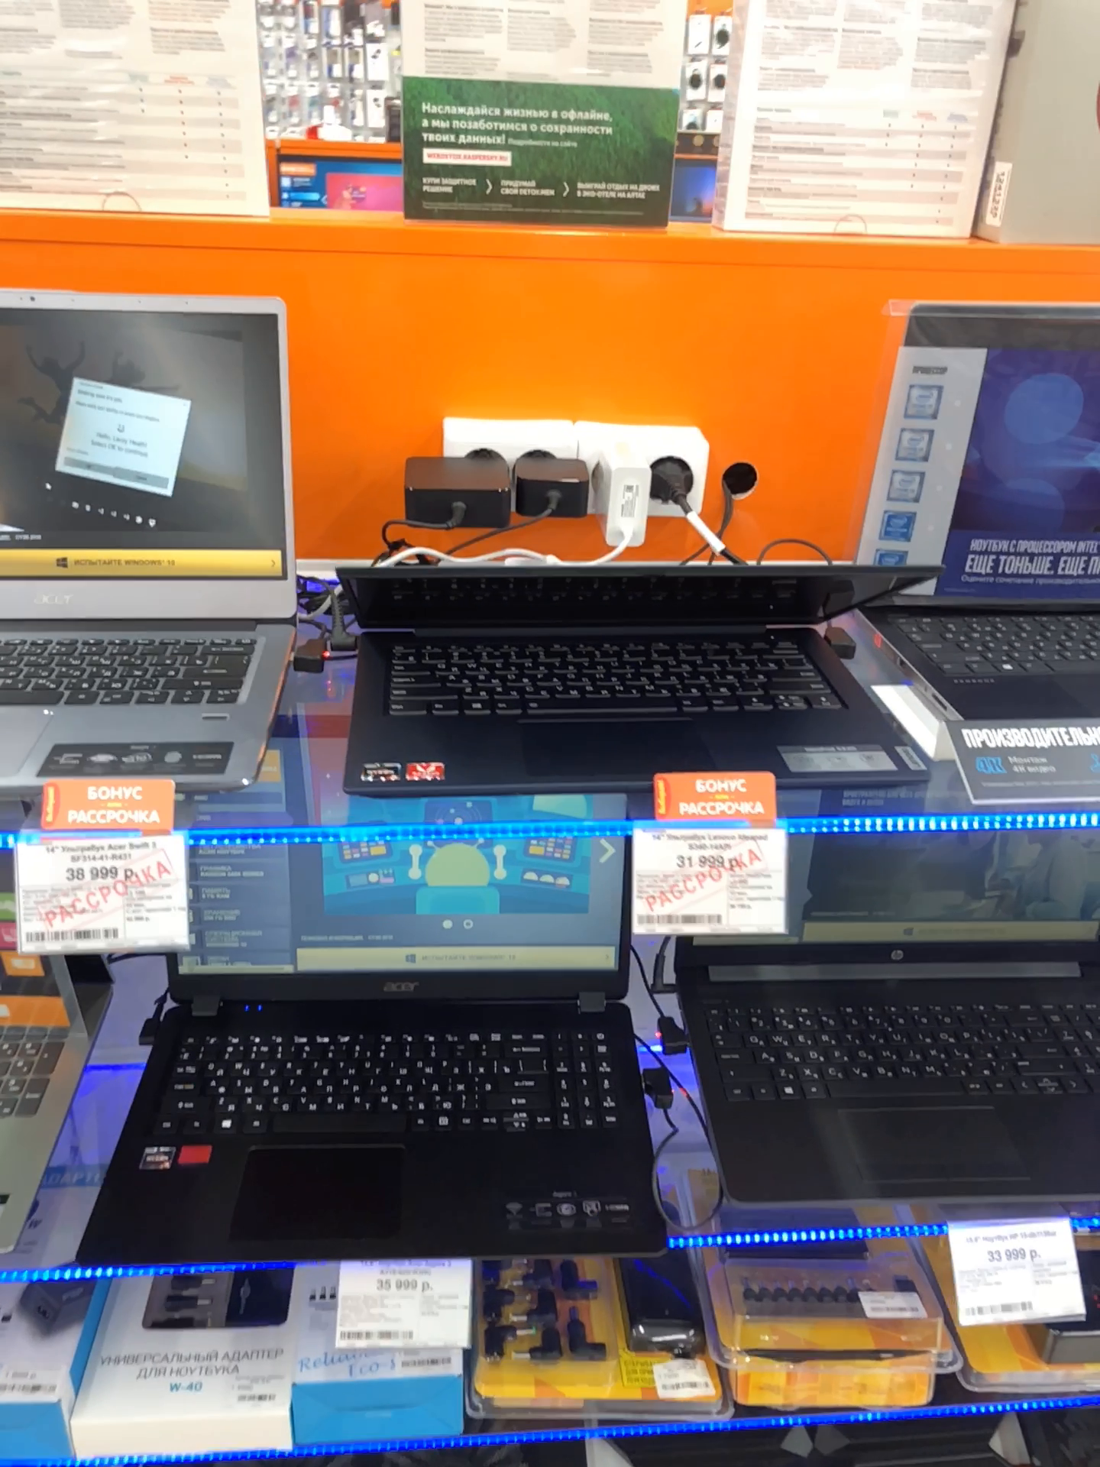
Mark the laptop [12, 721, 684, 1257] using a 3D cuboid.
[{"bbox_3d":[-0.102,0.149,0.780,0.342,0.230,0.247,1,25,-2],"label":"laptop"}]

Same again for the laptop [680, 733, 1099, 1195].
[{"bbox_3d":[0.285,0.145,0.824,0.352,0.215,0.226,0,25,-2],"label":"laptop"}]

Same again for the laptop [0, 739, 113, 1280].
[{"bbox_3d":[-0.498,0.150,0.744,0.348,0.208,0.236,0,26,-7],"label":"laptop"}]

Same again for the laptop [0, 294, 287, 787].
[{"bbox_3d":[-0.328,-0.116,0.661,0.315,0.203,0.225,0,26,-5],"label":"laptop"}]

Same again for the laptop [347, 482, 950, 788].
[{"bbox_3d":[0.040,-0.068,0.712,0.299,0.106,0.212,-1,26,-4],"label":"laptop"}]

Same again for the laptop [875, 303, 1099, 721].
[{"bbox_3d":[0.396,-0.152,0.770,0.306,0.213,0.229,0,24,-4],"label":"laptop"}]
